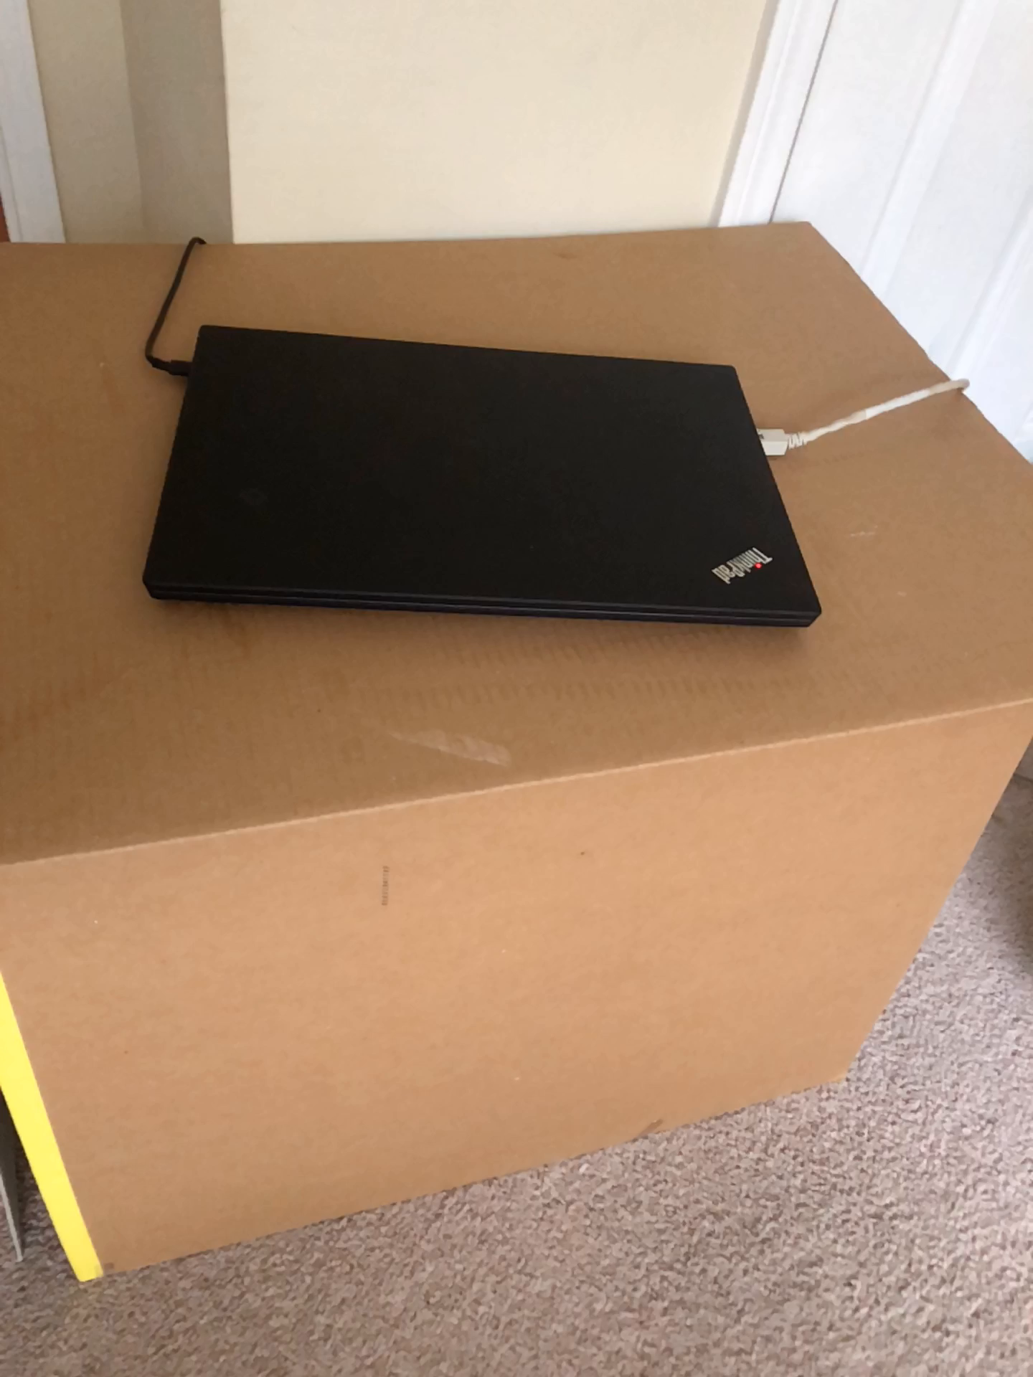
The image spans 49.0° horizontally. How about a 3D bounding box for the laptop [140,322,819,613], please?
[{"bbox_3d":[-0.017,-0.127,0.620,0.327,0.002,0.226,3,46,-9],"label":"laptop"}]
